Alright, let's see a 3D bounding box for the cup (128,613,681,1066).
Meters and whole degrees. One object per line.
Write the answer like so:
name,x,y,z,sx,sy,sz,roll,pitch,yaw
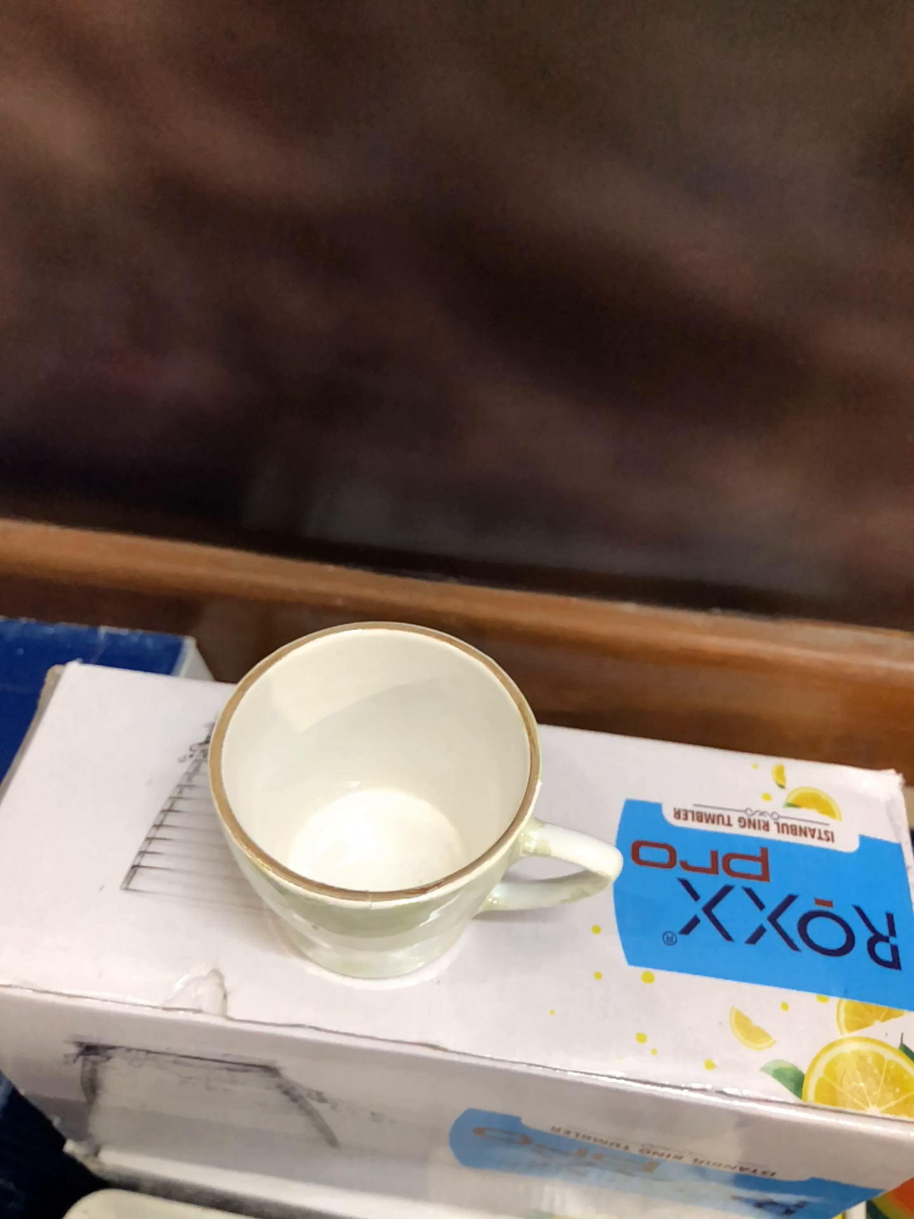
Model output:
cup,-0.008,0.052,0.230,0.100,0.060,0.070,6,51,0
